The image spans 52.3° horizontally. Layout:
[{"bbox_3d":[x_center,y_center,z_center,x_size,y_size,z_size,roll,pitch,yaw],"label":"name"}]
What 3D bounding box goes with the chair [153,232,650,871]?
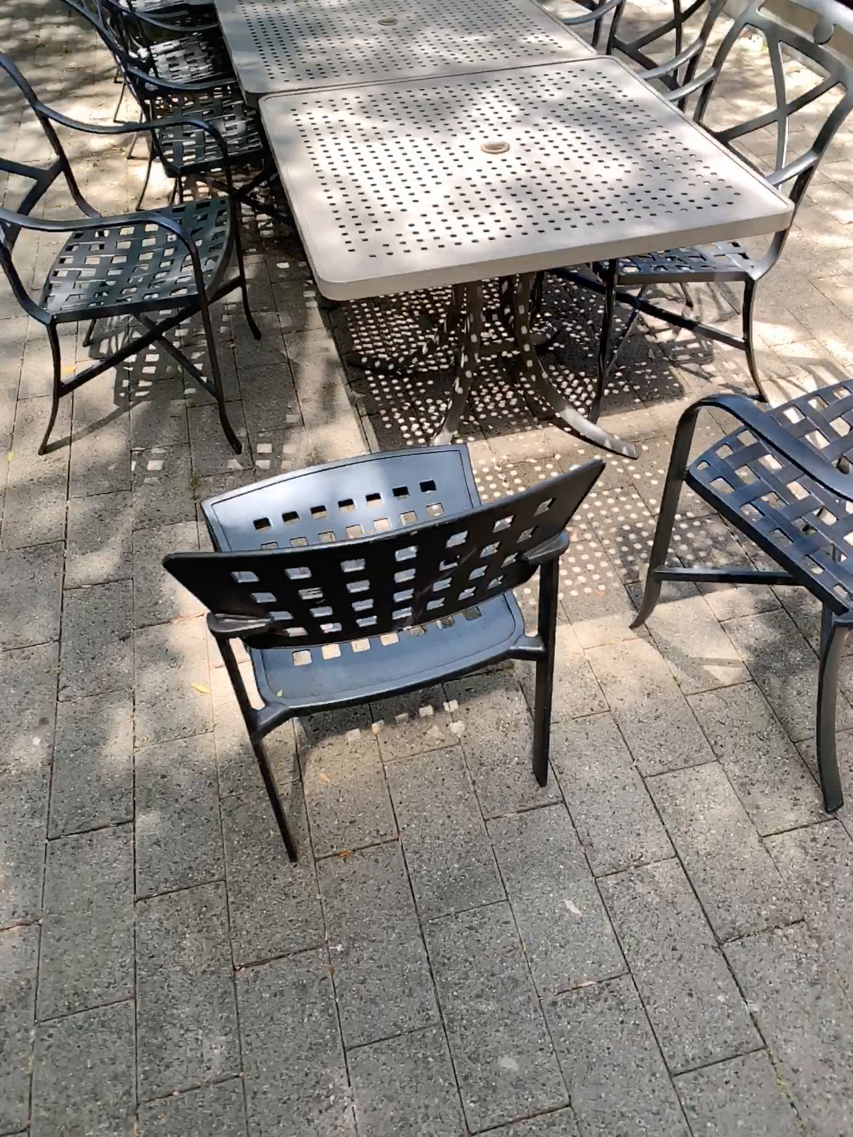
[{"bbox_3d":[-0.063,-0.009,1.331,0.490,0.716,0.553,-12,49,-9],"label":"chair"}]
